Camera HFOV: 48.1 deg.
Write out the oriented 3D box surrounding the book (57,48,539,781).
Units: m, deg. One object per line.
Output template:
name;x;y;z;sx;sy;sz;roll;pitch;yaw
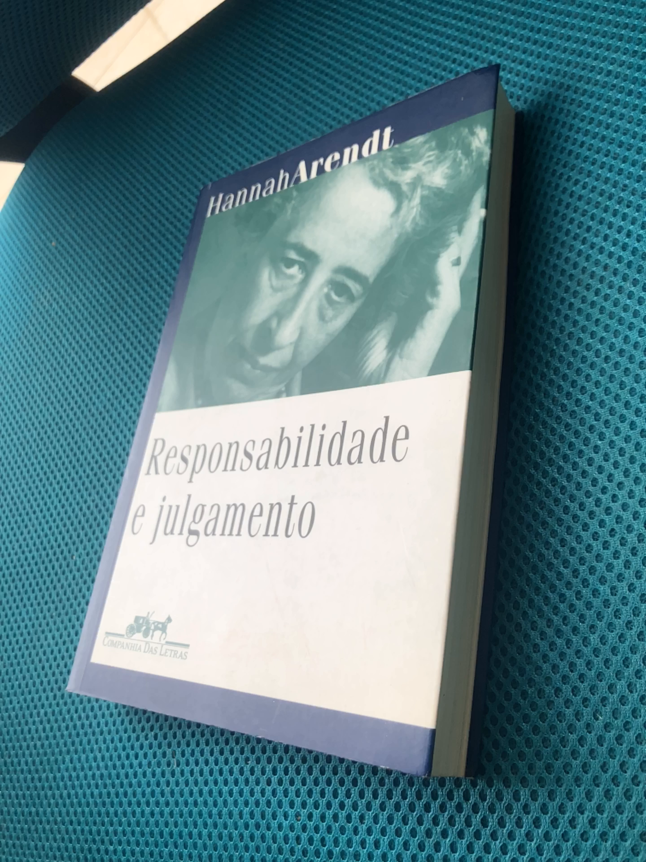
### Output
book;-0.008;-0.010;0.247;0.142;0.034;0.209;-6;66;38
